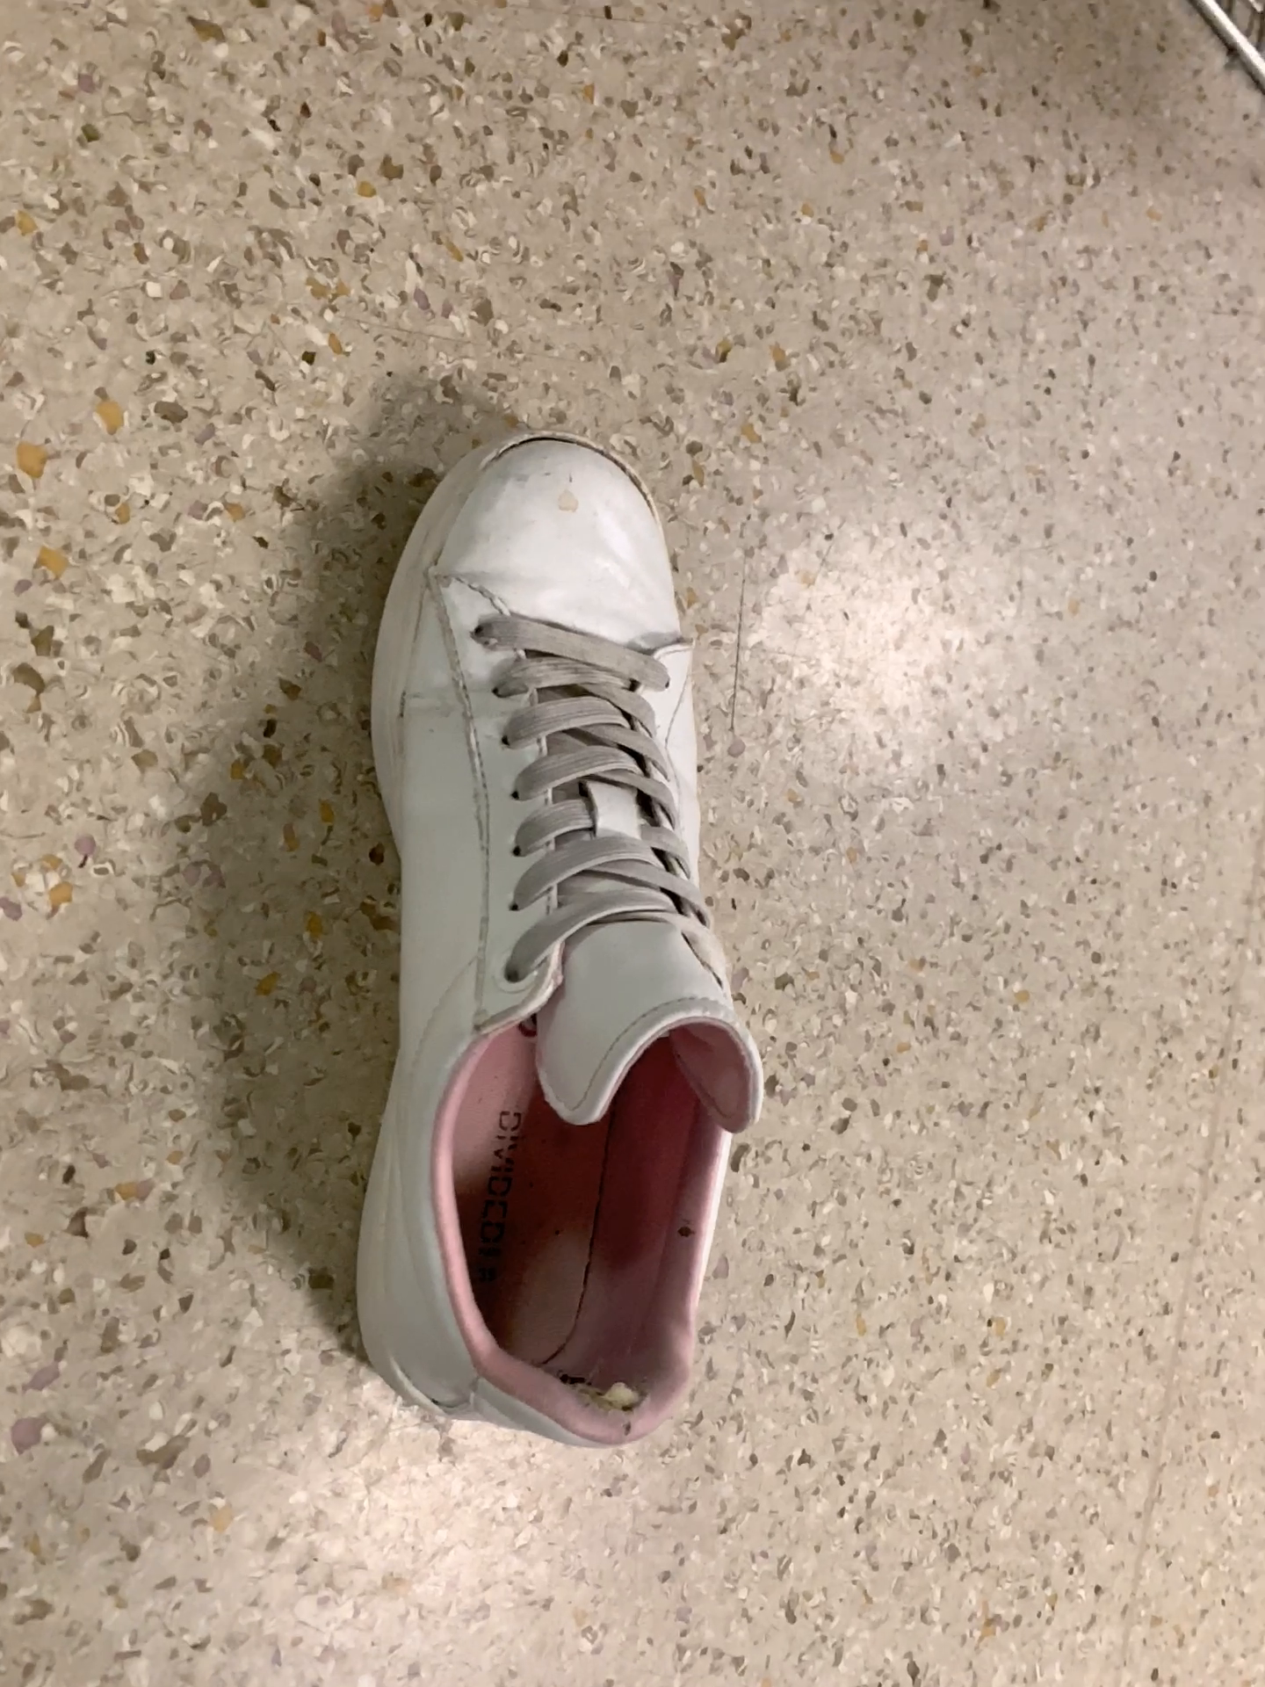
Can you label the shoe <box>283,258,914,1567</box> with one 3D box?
[{"bbox_3d":[-0.007,0.014,0.317,0.099,0.092,0.255,9,82,-34],"label":"shoe"}]
